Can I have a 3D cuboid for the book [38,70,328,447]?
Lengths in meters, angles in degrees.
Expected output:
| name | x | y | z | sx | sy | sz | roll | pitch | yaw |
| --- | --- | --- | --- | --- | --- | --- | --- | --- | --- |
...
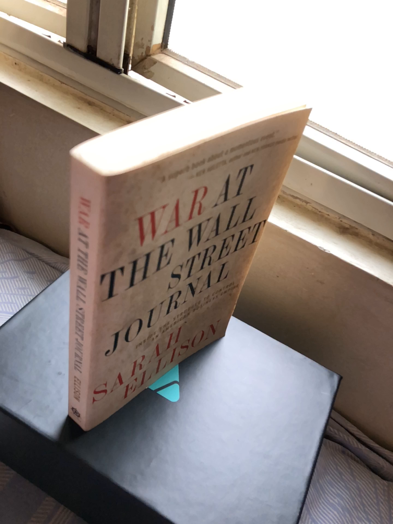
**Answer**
| name | x | y | z | sx | sy | sz | roll | pitch | yaw |
| --- | --- | --- | --- | --- | --- | --- | --- | --- | --- |
| book | -0.014 | 0.003 | 0.253 | 0.030 | 0.199 | 0.151 | 39 | 46 | 23 |
